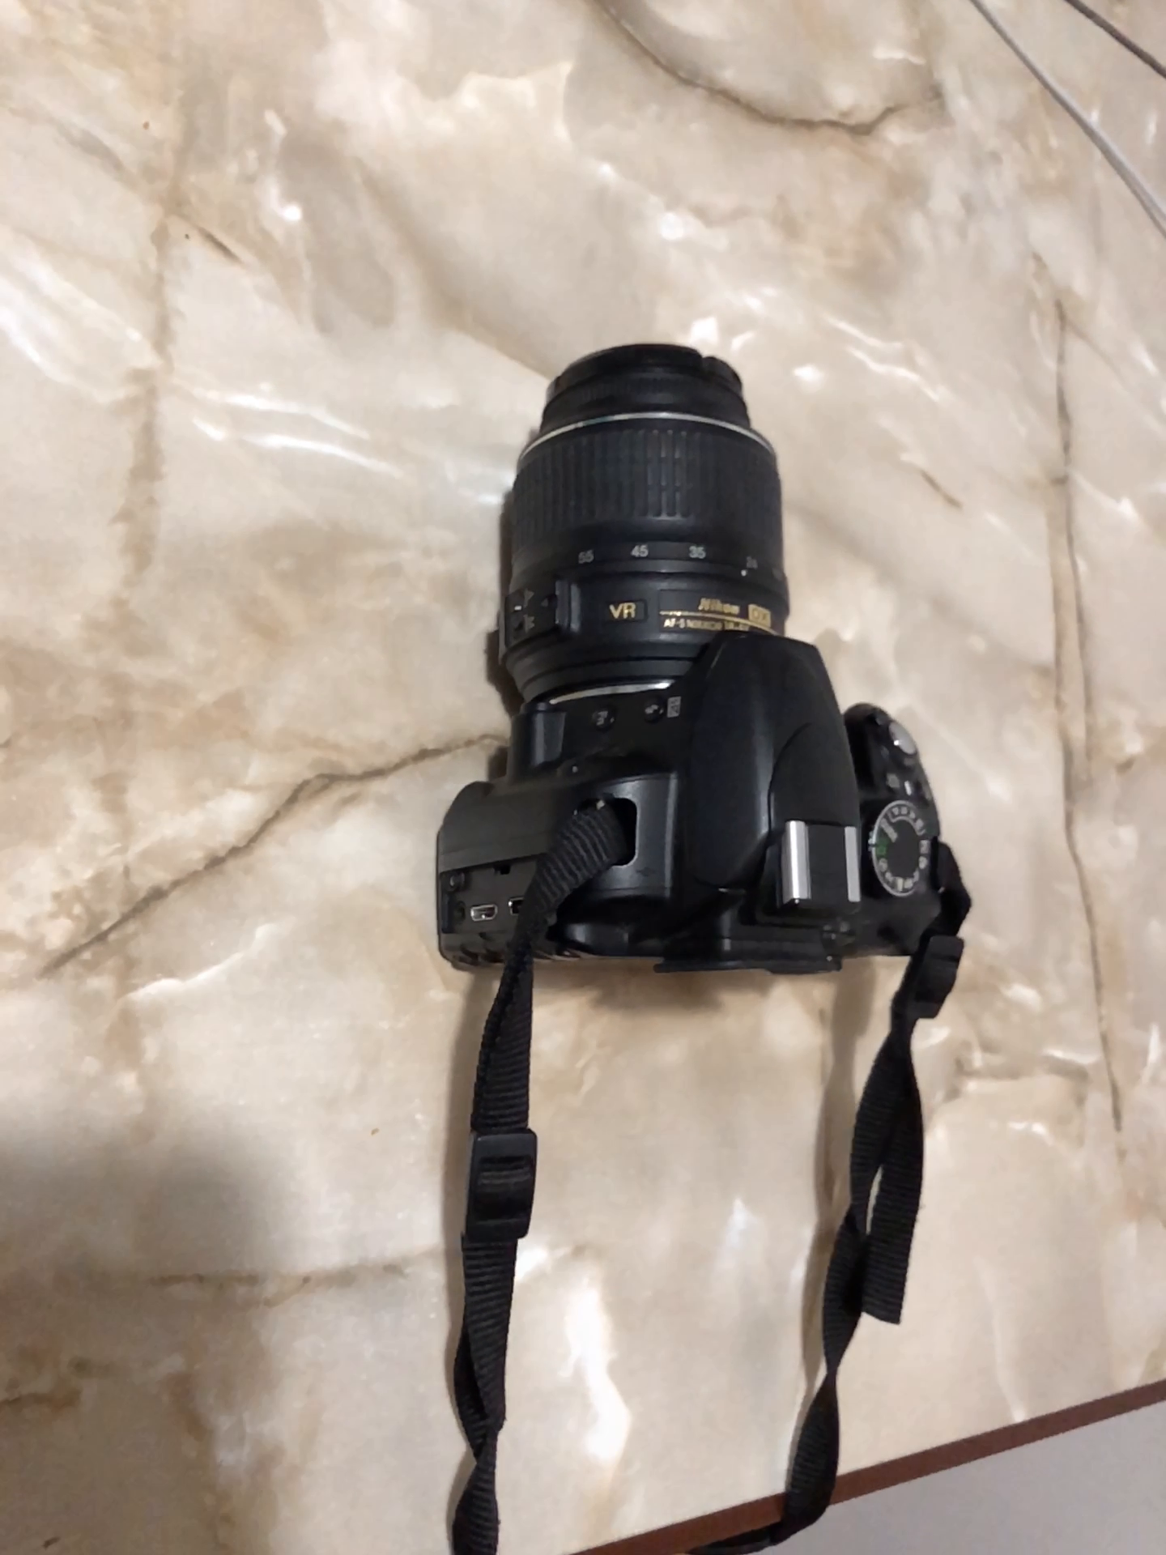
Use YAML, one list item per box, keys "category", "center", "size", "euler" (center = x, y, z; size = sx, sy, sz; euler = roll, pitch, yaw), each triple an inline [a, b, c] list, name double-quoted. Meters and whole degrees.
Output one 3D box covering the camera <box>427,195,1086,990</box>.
- category: "camera"
  center: [0.040, -0.029, 0.330]
  size: [0.126, 0.099, 0.160]
  euler: [6, 78, -36]
